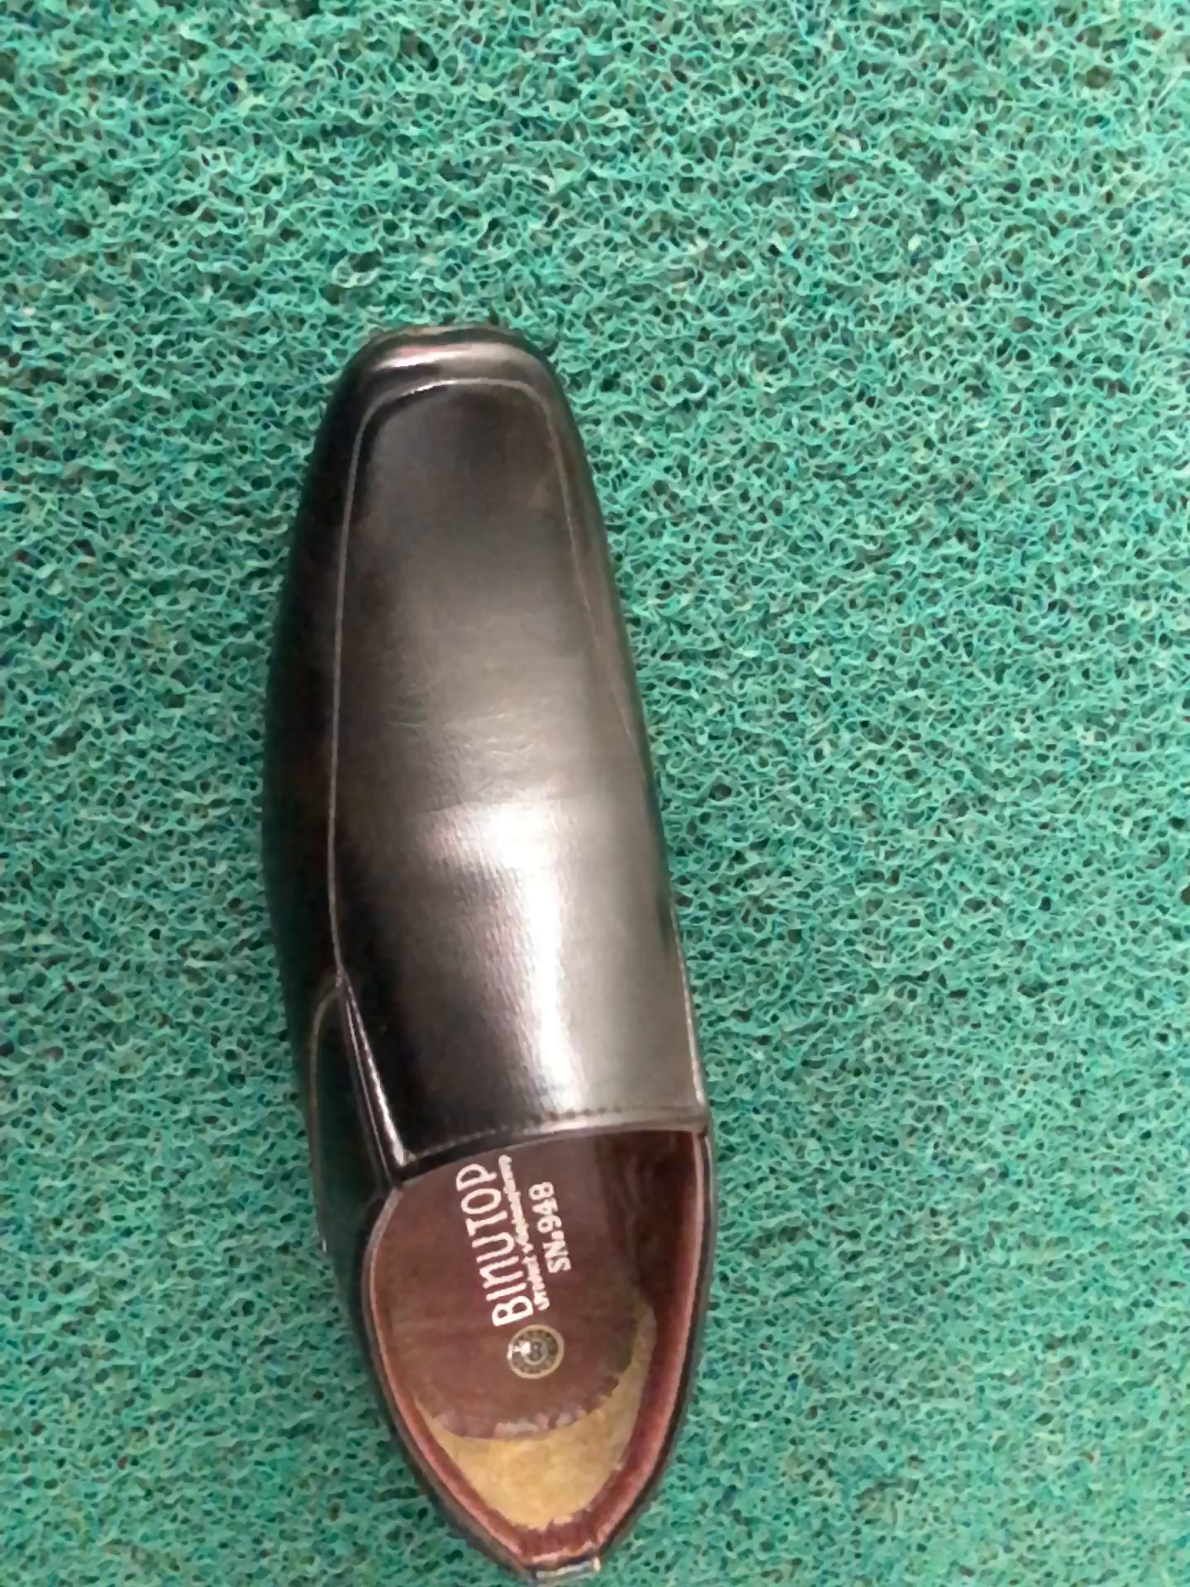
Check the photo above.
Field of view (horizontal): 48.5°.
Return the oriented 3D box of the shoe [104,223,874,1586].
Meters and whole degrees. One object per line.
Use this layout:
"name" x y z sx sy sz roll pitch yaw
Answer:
"shoe" -0.020 0.031 0.298 0.110 0.130 0.270 -8 105 -11
